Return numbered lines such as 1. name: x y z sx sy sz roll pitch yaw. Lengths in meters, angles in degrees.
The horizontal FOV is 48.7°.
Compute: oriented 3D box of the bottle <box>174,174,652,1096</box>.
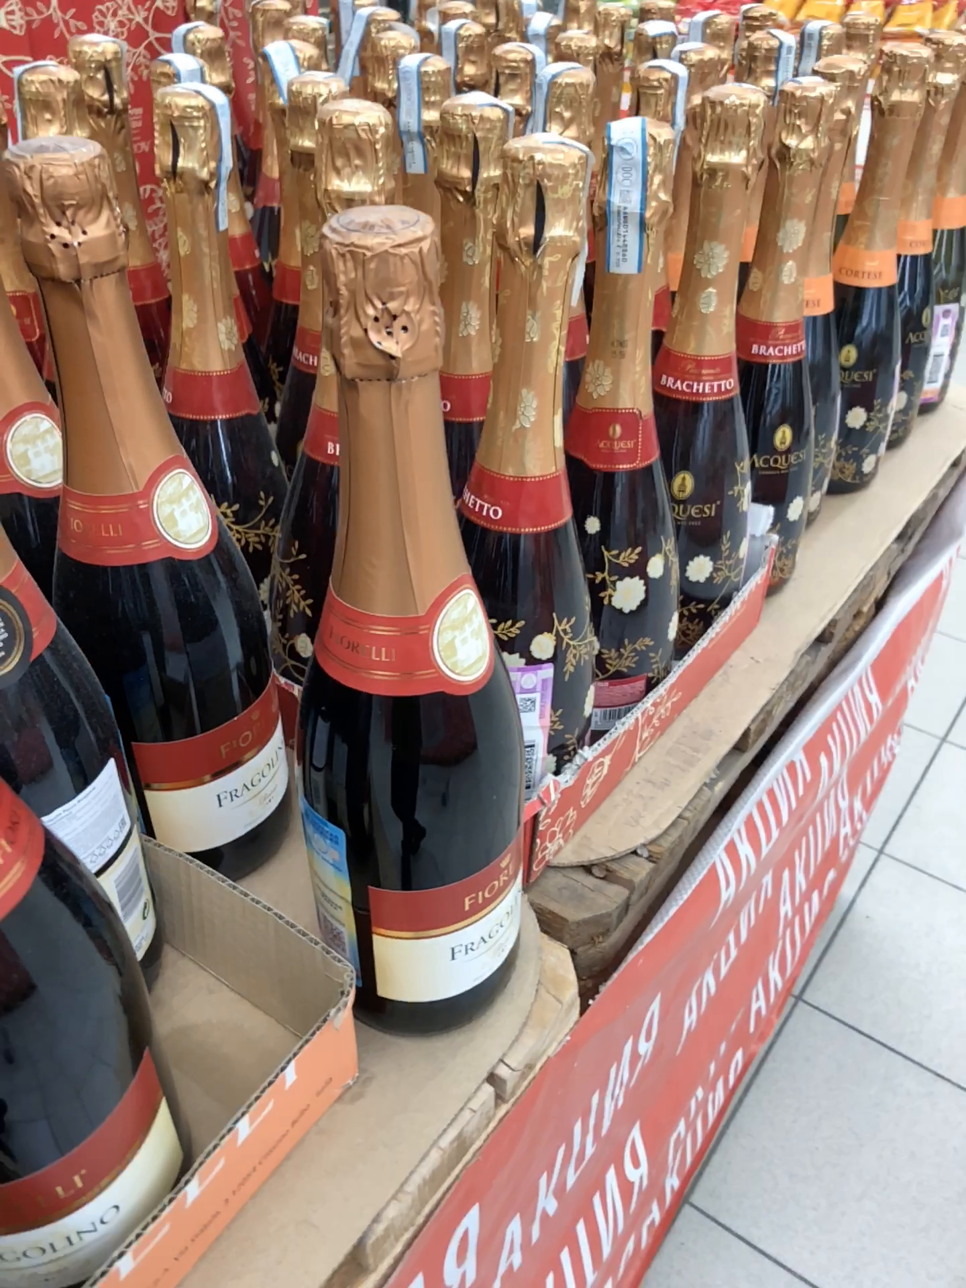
1. bottle: -0.020 0.012 0.368 0.090 0.298 0.090 1 35 -1
